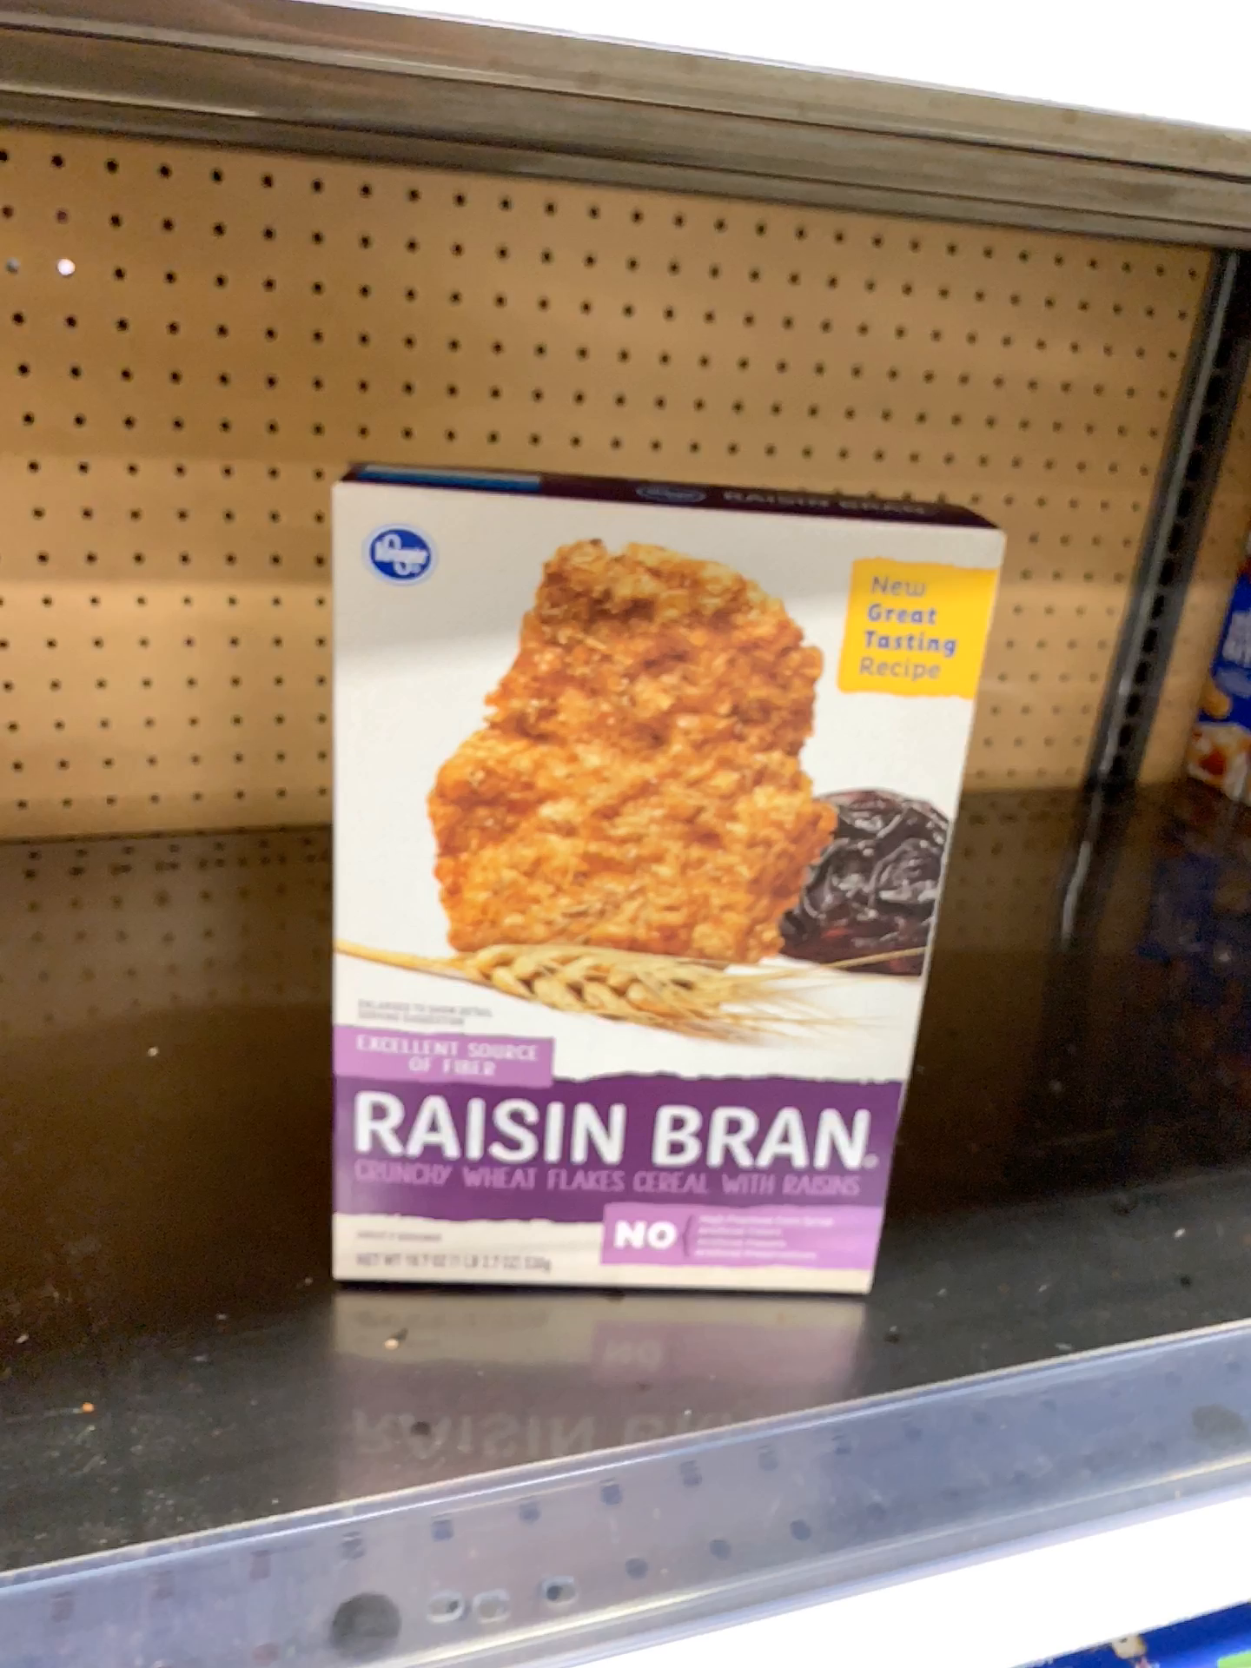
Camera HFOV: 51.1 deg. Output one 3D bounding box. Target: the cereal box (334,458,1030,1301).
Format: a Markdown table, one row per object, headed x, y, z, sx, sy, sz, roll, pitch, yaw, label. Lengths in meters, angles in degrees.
| x | y | z | sx | sy | sz | roll | pitch | yaw | label |
| --- | --- | --- | --- | --- | --- | --- | --- | --- | --- |
| 0.005 | 0.026 | 0.426 | 0.190 | 0.269 | 0.050 | 3 | 22 | -6 | cereal box |
